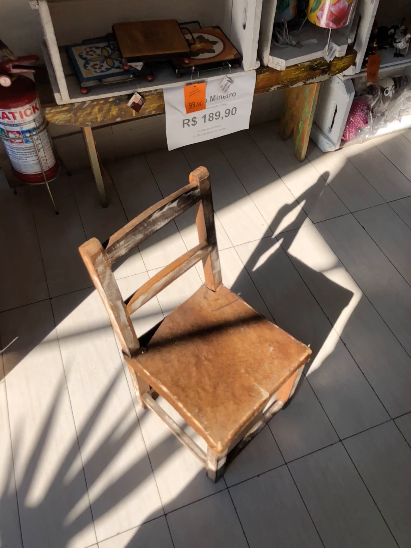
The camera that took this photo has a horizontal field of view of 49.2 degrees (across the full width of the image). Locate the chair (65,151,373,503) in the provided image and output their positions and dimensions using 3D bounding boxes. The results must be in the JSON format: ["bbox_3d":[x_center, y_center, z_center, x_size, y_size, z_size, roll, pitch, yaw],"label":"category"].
[{"bbox_3d":[0.017,0.143,0.895,0.341,0.597,0.301,37,60,25],"label":"chair"}]
